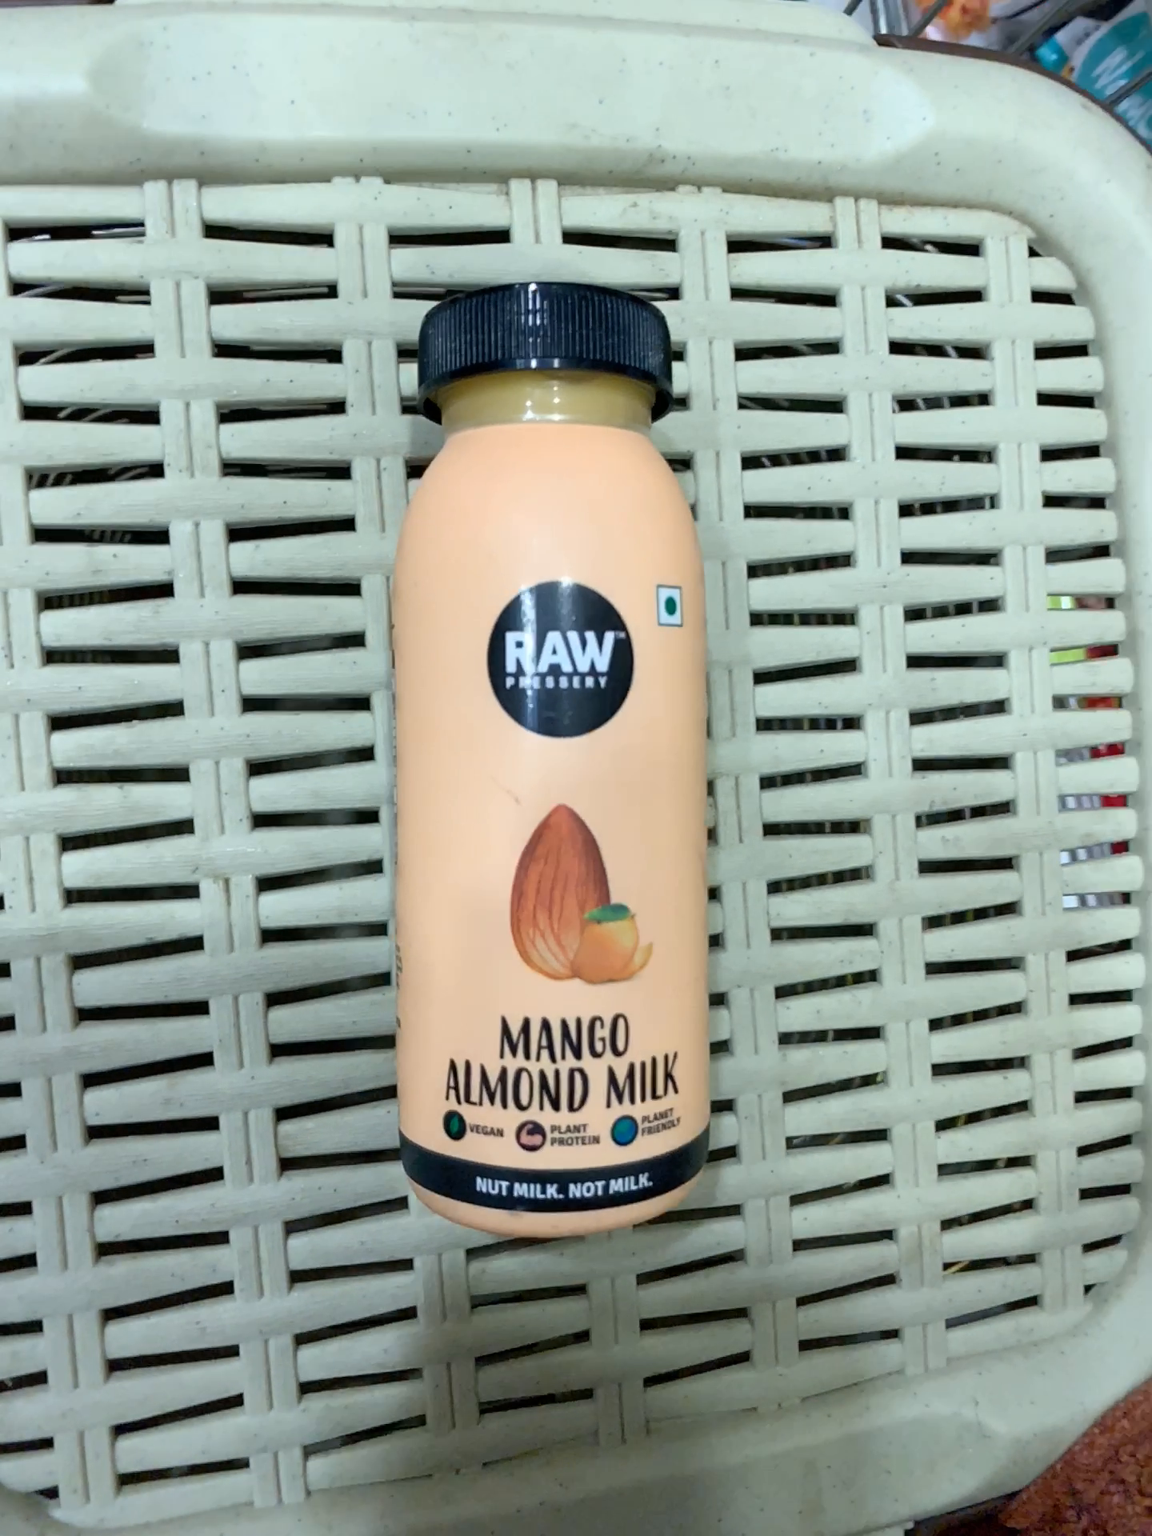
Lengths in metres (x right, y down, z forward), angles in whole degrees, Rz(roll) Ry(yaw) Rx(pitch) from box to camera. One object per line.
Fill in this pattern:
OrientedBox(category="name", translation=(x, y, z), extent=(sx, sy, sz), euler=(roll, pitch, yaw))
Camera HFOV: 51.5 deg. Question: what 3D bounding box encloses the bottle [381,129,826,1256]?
OrientedBox(category="bottle", translation=(0.002, -0.010, 0.186), extent=(0.060, 0.040, 0.150), euler=(0, 91, -15))
